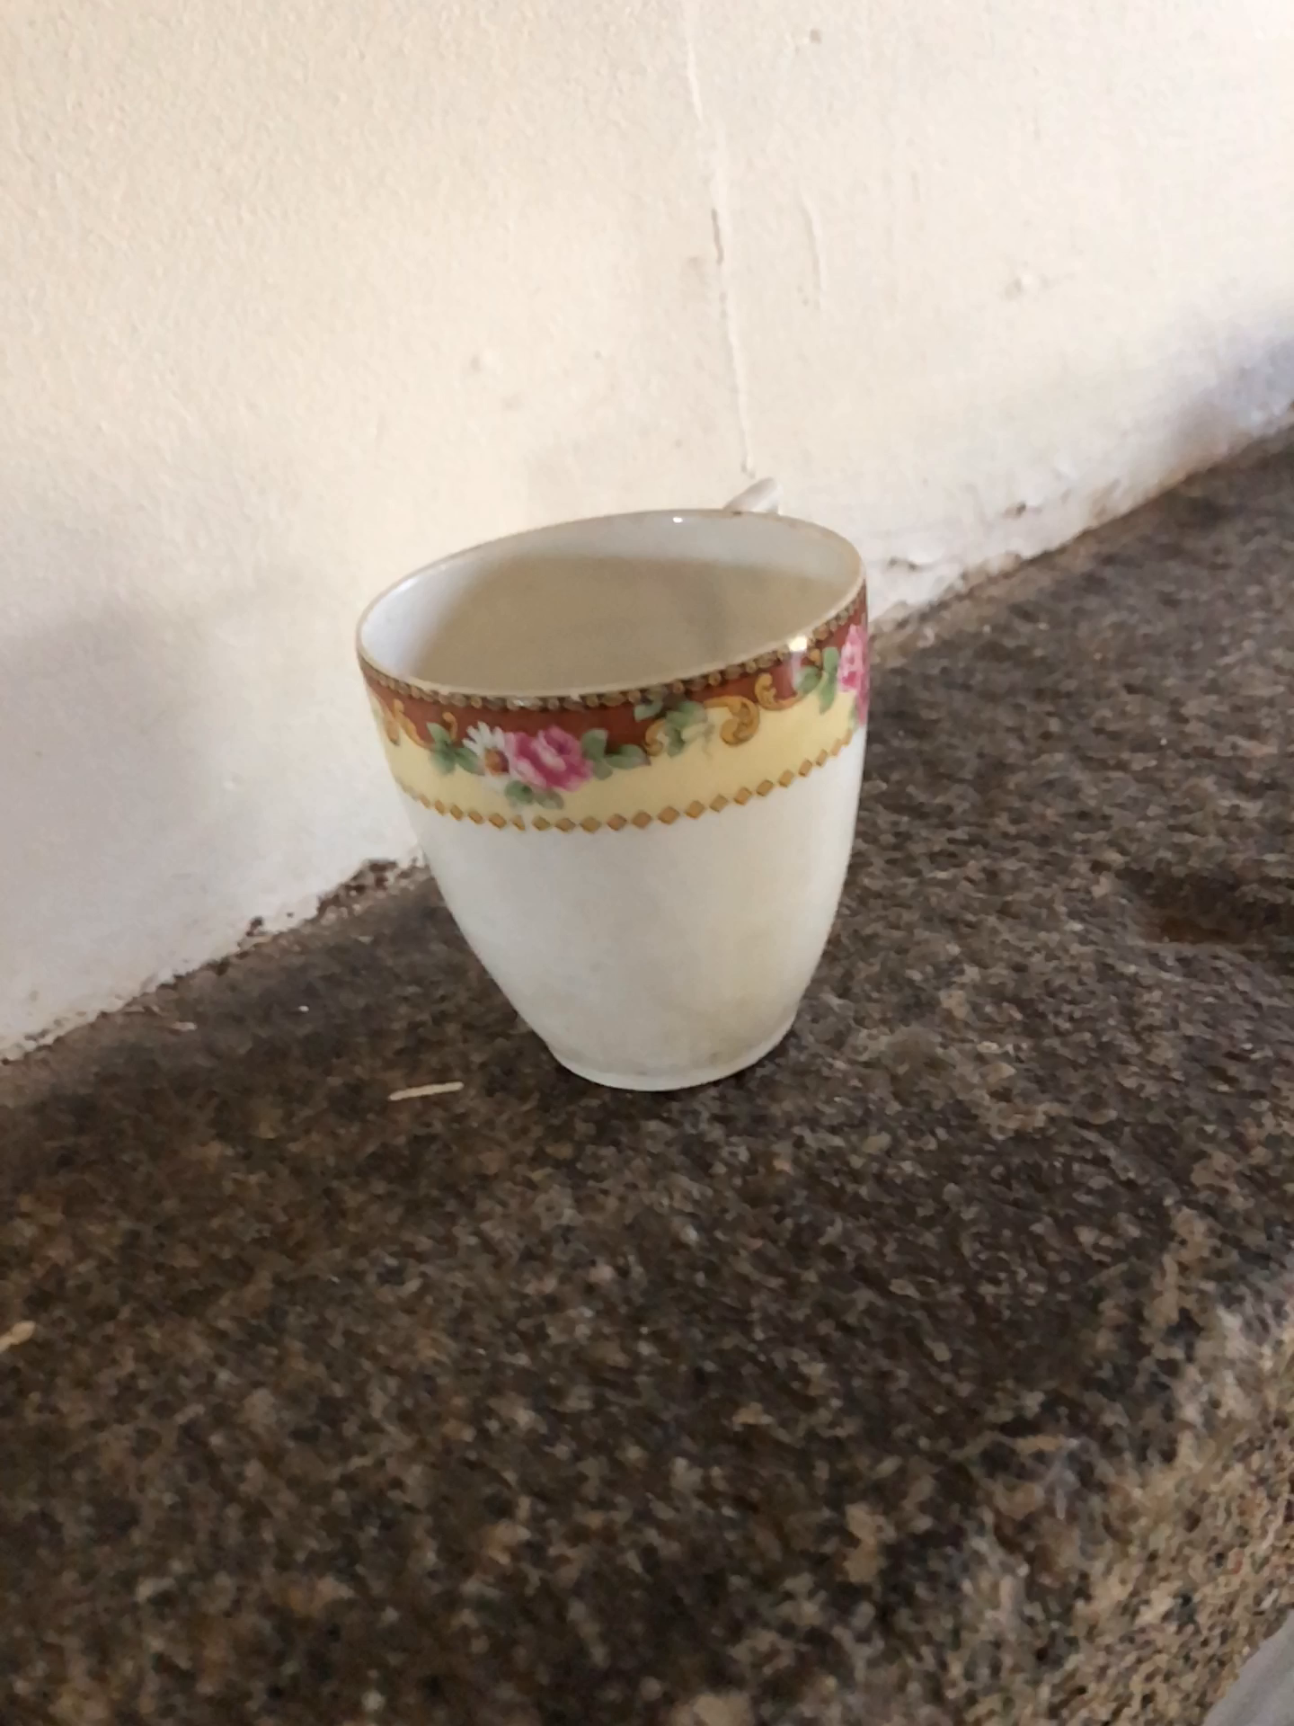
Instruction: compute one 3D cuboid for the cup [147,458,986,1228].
[{"bbox_3d":[-0.004,-0.012,0.206,0.070,0.060,0.091,15,38,33],"label":"cup"}]
